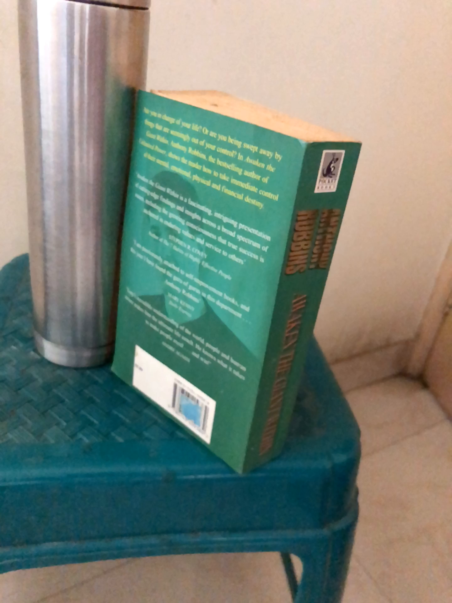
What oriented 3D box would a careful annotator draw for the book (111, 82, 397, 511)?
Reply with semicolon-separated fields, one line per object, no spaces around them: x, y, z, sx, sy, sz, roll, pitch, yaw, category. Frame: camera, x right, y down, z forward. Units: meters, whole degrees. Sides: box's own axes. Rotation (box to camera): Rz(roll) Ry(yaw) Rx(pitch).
-0.006;-0.005;0.292;0.050;0.199;0.140;-19;41;-39;book
